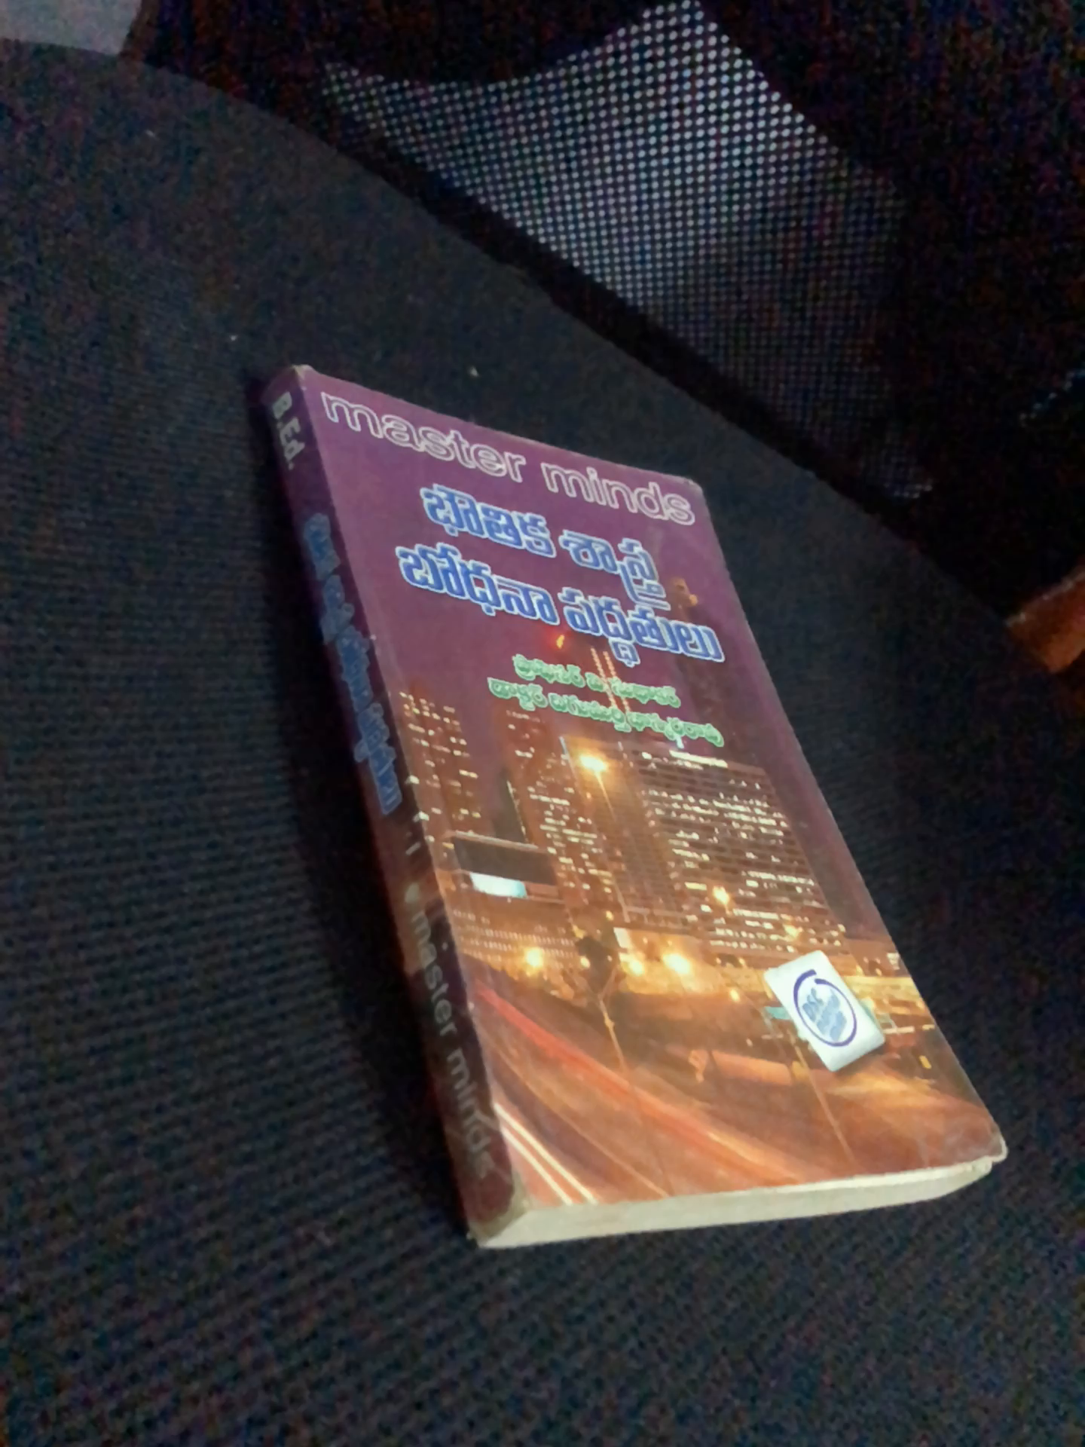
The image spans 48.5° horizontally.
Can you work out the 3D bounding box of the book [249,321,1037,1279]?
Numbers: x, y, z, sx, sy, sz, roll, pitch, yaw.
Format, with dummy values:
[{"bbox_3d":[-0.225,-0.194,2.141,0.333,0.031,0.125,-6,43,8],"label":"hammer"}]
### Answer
[{"bbox_3d":[0.016,0.007,0.289,0.146,0.027,0.219,14,43,-39],"label":"book"}]
